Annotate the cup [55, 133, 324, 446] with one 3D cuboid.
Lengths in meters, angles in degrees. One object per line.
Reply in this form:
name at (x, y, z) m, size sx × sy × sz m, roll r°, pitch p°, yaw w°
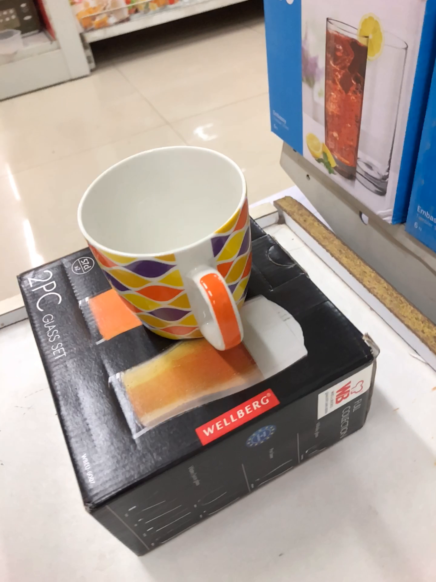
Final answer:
cup at (-0.018, -0.009, 0.272) m, size 0.090 × 0.089 × 0.131 m, roll -24°, pitch 45°, yaw -14°
